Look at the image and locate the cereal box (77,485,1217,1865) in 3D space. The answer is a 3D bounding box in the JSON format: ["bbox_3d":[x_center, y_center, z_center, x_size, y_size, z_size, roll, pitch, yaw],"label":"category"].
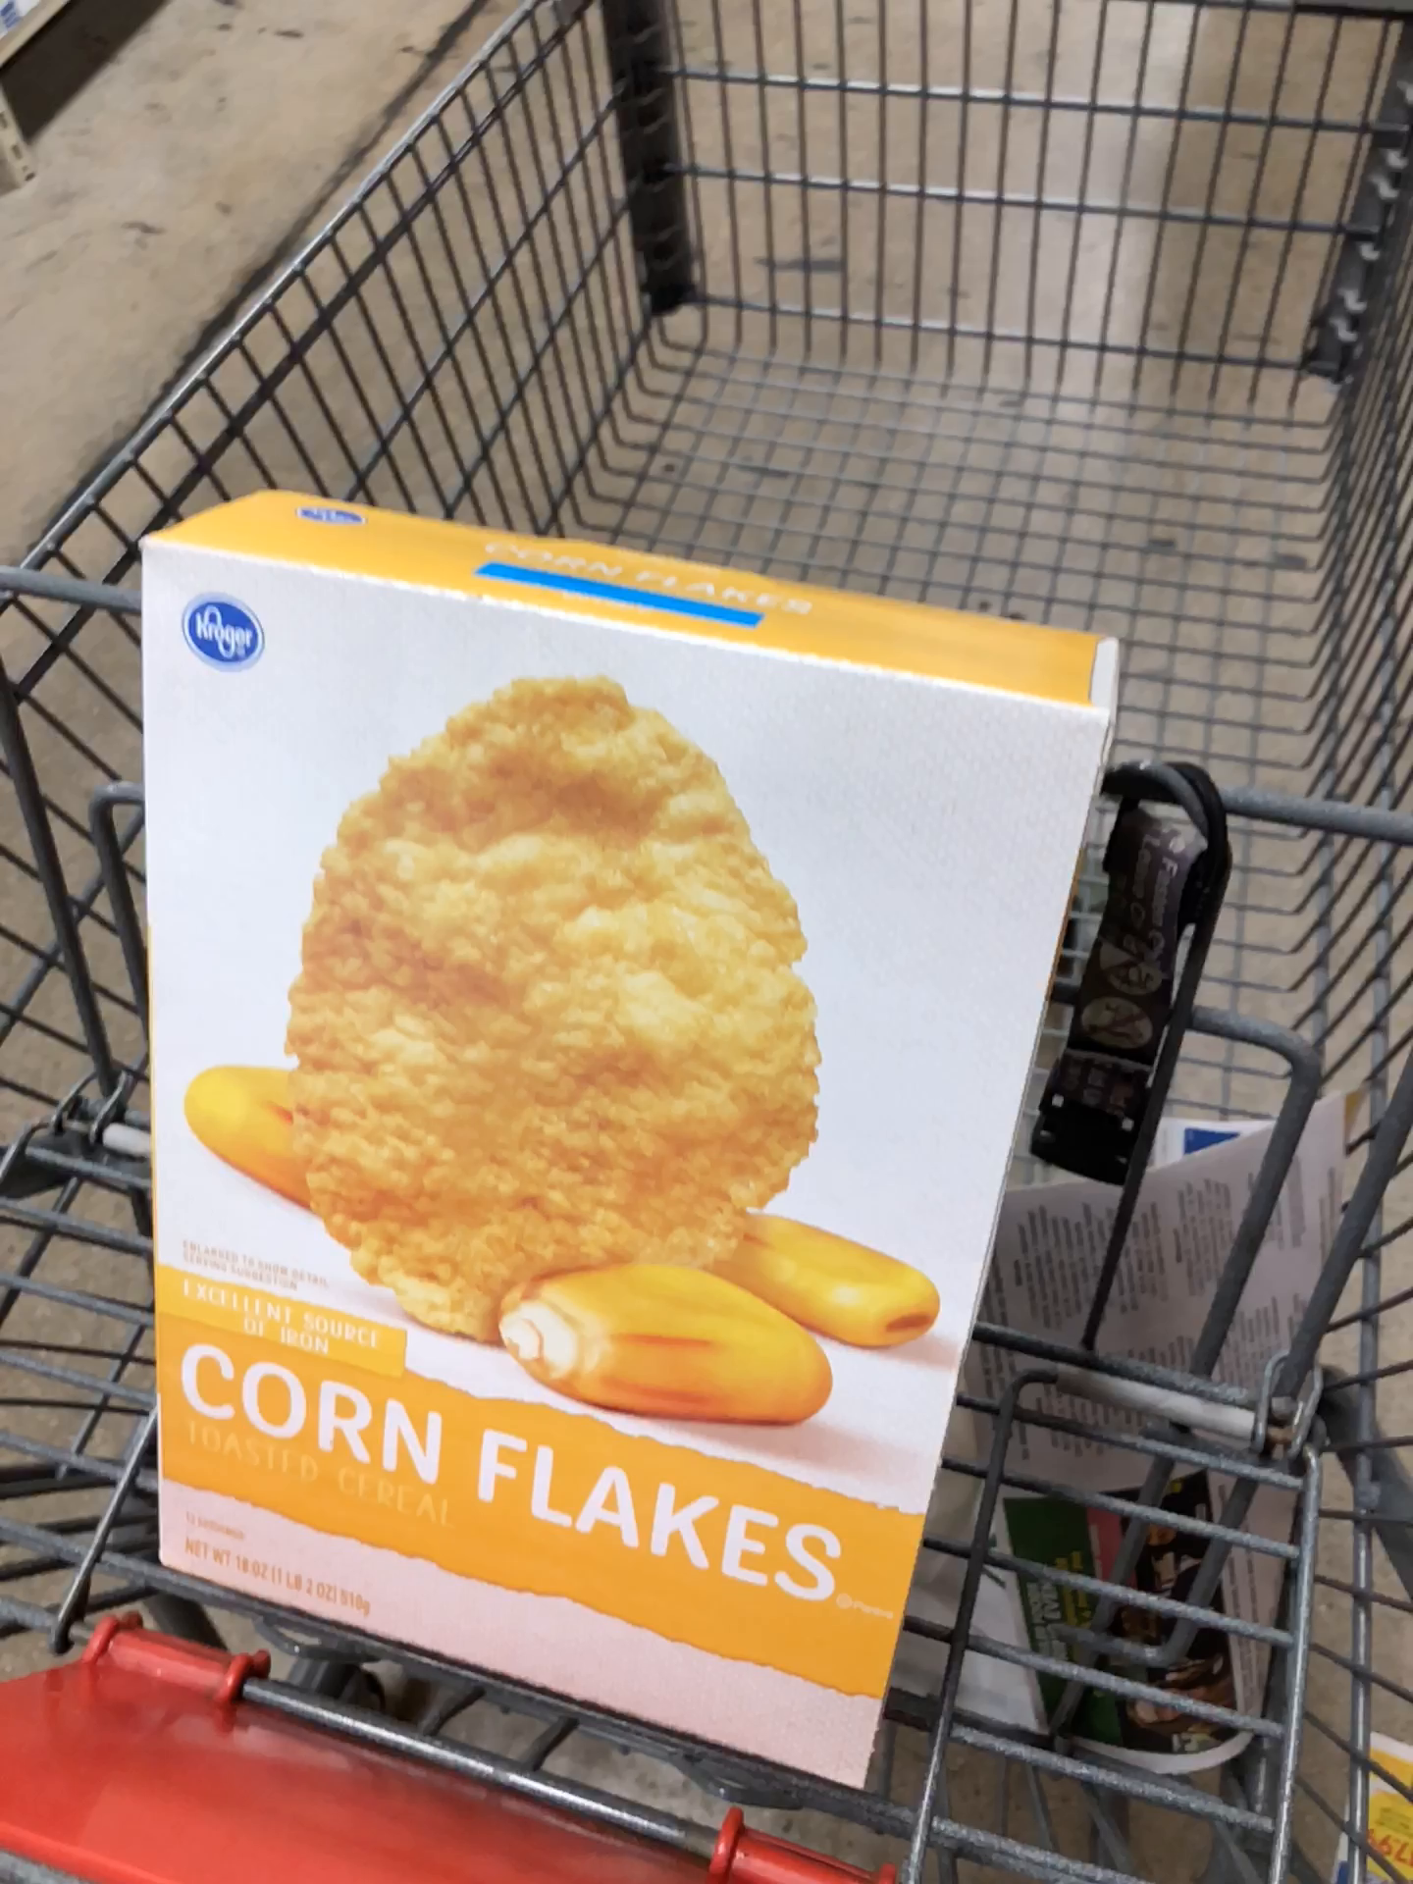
[{"bbox_3d":[-0.025,0.059,0.396,0.230,0.300,0.080,12,25,13],"label":"cereal box"}]
